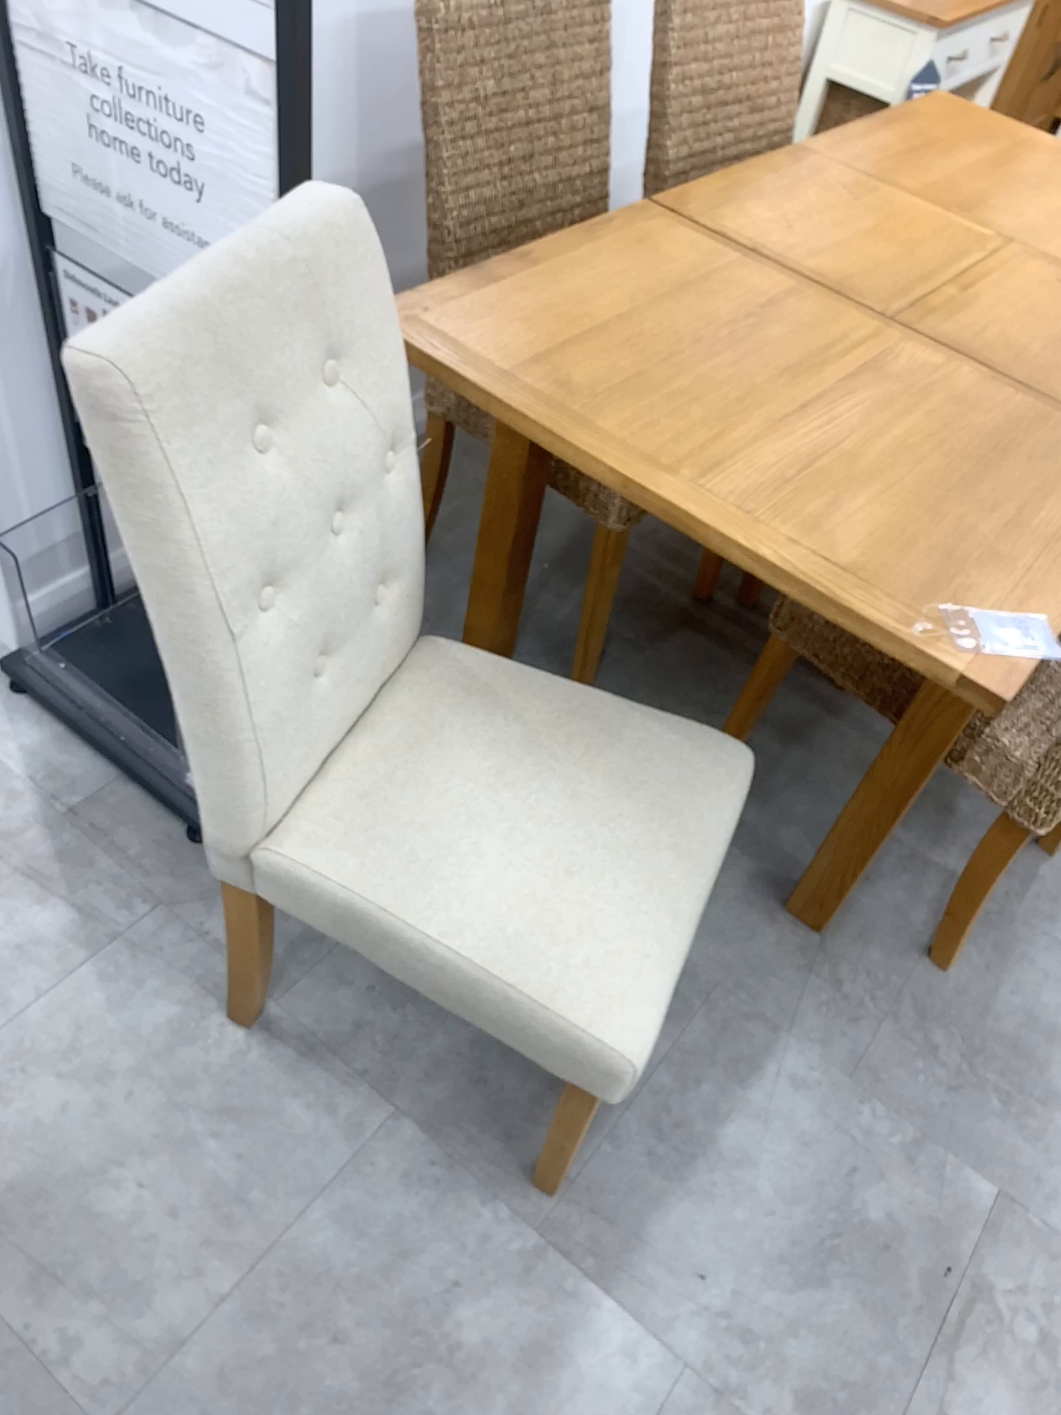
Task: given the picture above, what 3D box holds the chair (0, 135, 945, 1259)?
[{"bbox_3d":[-0.101,0.047,1.114,0.610,0.896,0.483,24,48,10],"label":"chair"}]
